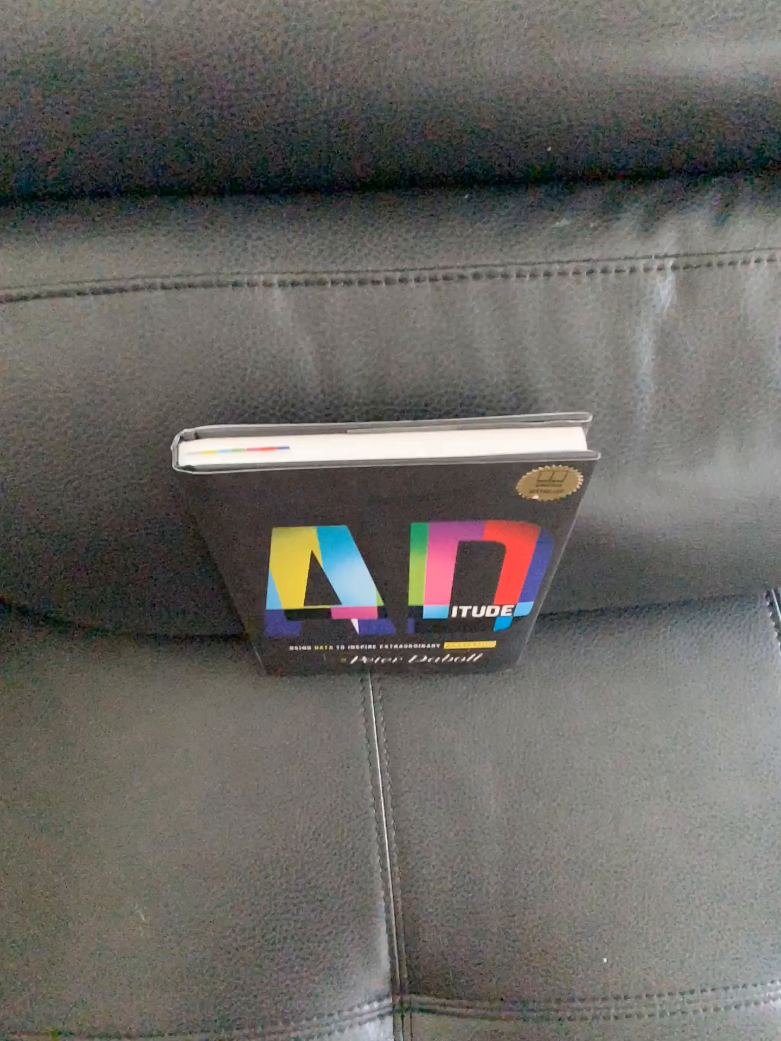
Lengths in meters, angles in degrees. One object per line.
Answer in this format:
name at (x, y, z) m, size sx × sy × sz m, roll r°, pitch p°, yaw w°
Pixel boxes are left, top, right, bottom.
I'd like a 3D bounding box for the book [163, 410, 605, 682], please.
book at (-0.001, 0.029, 0.399) m, size 0.160 × 0.236 × 0.025 m, roll -1°, pitch 60°, yaw 0°
